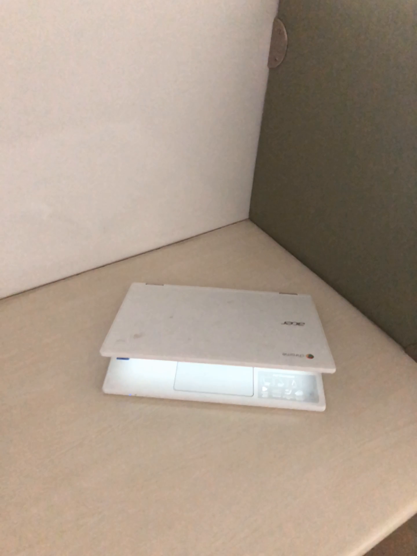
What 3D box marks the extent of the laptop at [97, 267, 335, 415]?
[{"bbox_3d":[0.014,0.077,0.629,0.282,0.055,0.193,4,41,2],"label":"laptop"}]
